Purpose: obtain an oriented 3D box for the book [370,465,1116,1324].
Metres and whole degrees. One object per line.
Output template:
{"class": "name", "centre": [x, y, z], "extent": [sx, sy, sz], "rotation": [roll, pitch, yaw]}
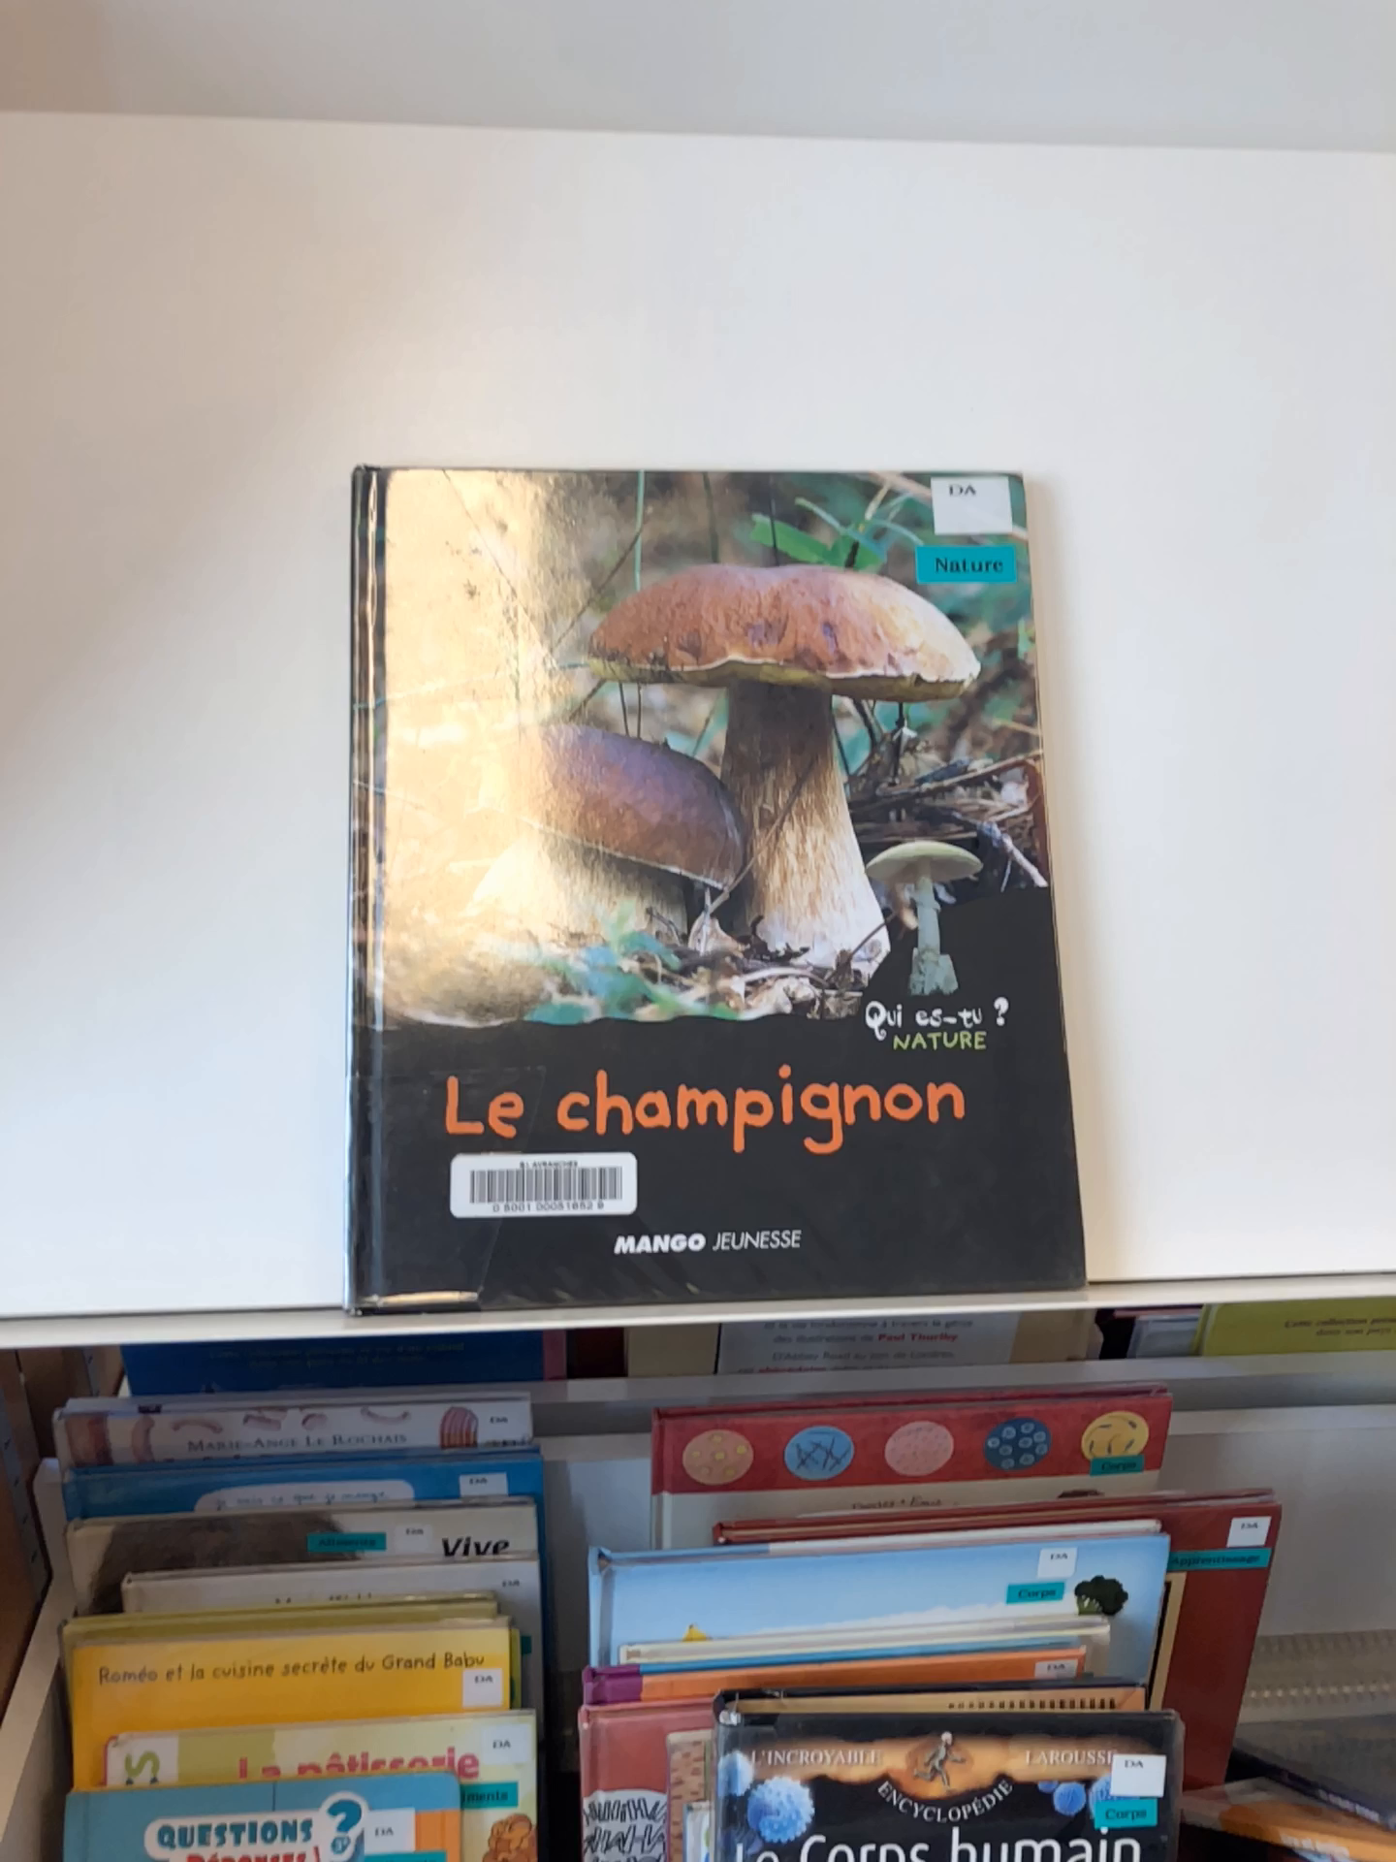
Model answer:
{"class": "book", "centre": [0.010, -0.016, 0.444], "extent": [0.202, 0.242, 0.020], "rotation": [-1, -10, -5]}
